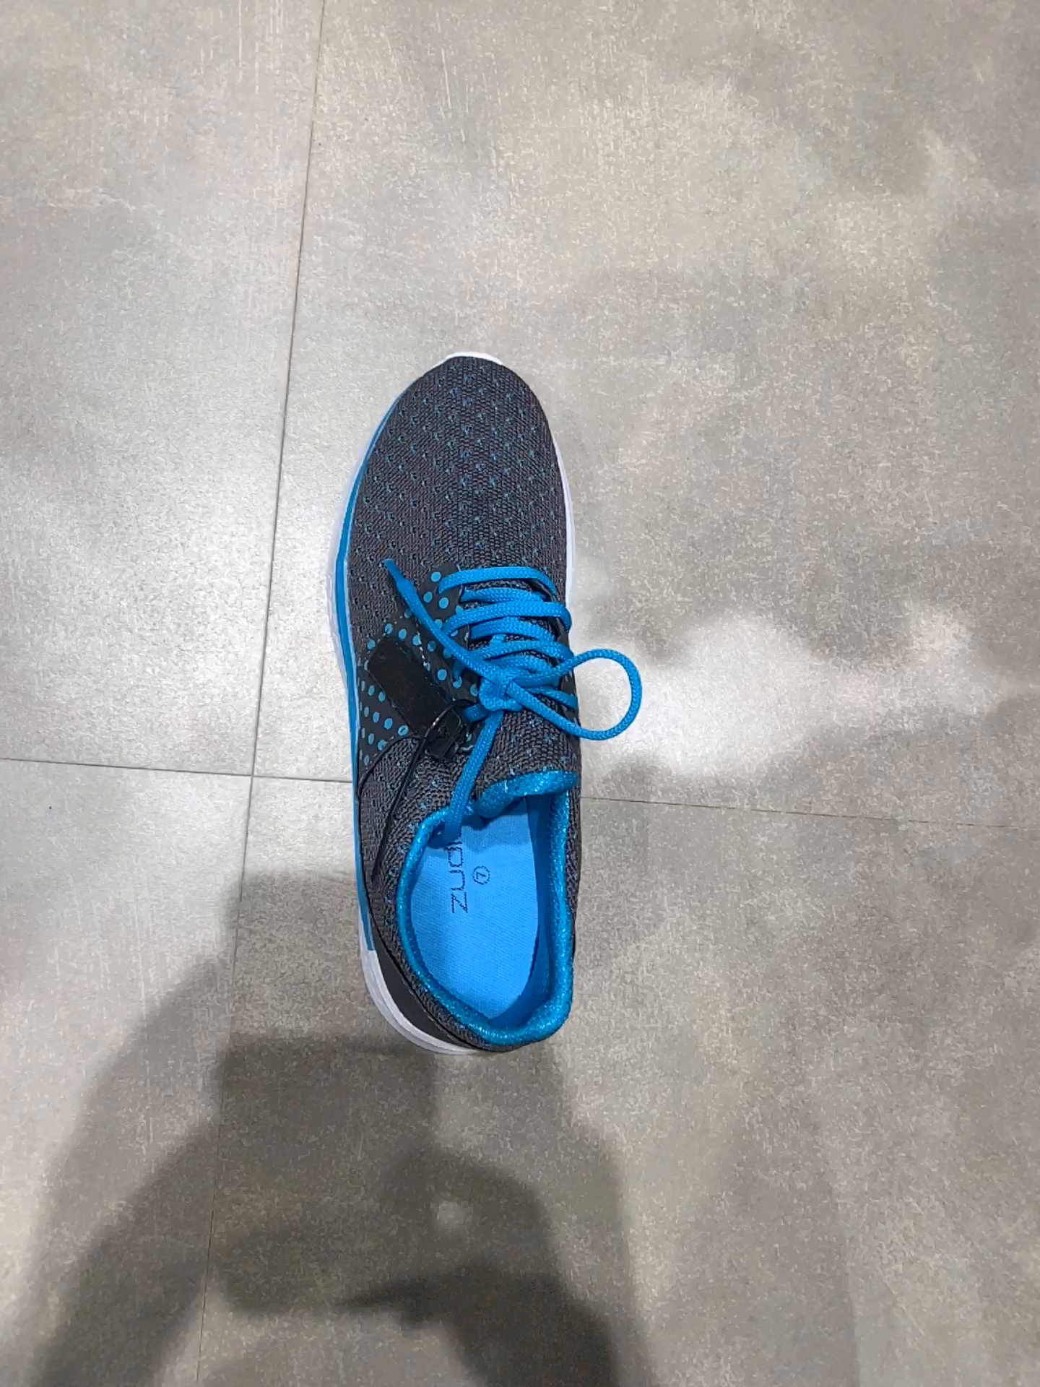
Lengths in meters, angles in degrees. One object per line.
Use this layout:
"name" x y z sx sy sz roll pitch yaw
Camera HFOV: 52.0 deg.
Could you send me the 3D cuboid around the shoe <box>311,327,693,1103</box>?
"shoe" -0.015 0.005 0.371 0.102 0.102 0.227 -3 85 -12
